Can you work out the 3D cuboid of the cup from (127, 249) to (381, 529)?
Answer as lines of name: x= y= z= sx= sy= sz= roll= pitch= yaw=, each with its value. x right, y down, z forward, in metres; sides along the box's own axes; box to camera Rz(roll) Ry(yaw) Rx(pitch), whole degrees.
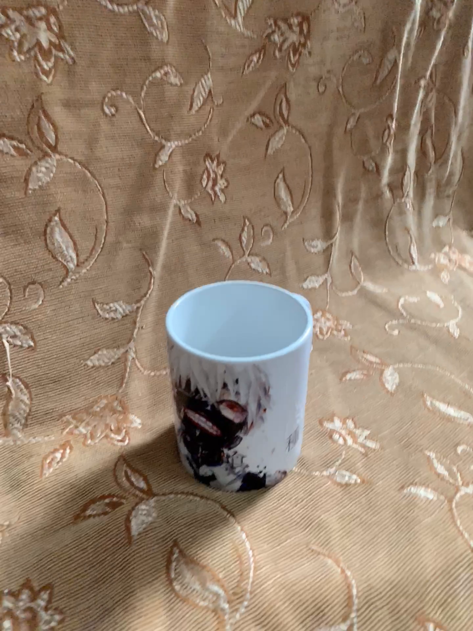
cup: x=0.012 y=0.036 z=0.298 sx=0.121 sy=0.101 sz=0.080 roll=-26 pitch=40 yaw=-35
